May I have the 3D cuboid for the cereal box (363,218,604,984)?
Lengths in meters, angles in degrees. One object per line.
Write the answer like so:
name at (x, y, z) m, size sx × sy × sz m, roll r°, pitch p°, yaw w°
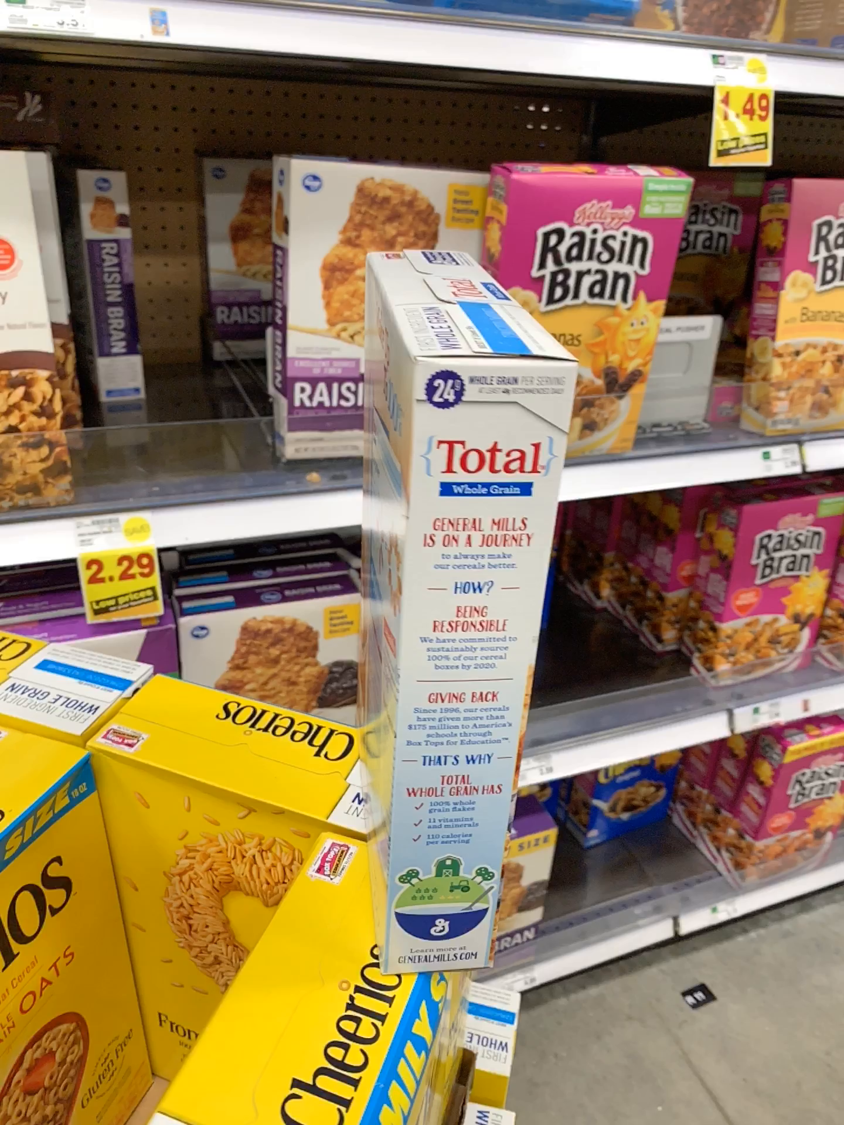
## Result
cereal box at (0.008, 0.009, 0.420) m, size 0.050 × 0.298 × 0.211 m, roll 0°, pitch 29°, yaw -8°
